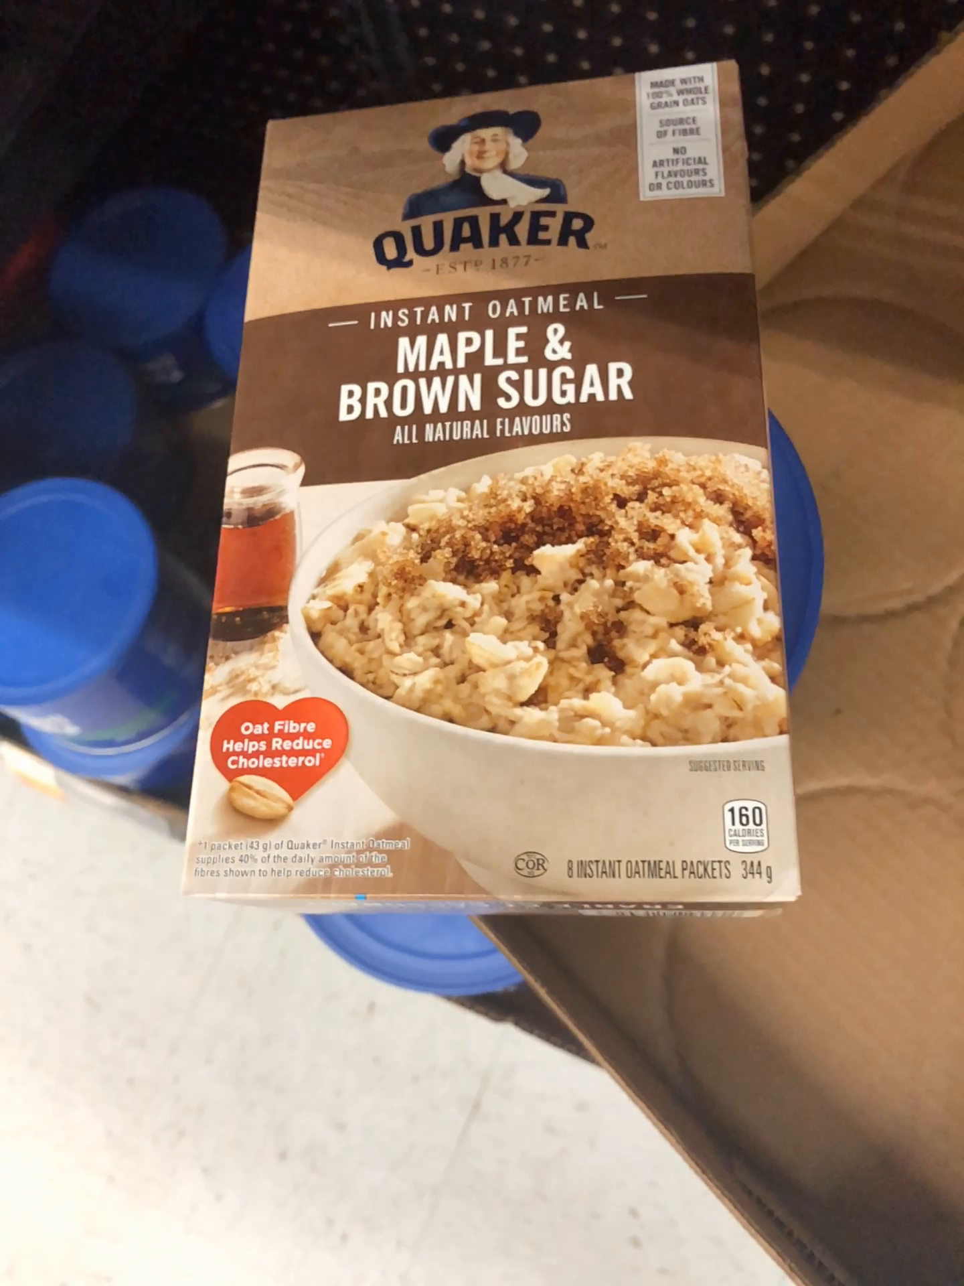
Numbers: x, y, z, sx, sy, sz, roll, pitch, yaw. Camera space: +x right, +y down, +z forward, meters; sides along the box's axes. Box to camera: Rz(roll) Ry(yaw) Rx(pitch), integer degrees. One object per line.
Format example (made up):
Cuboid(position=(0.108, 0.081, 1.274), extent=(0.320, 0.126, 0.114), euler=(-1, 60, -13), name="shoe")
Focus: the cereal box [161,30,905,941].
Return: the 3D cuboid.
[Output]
Cuboid(position=(0.013, -0.033, 0.265), extent=(0.140, 0.070, 0.200), euler=(-2, 72, 10), name="cereal box")
